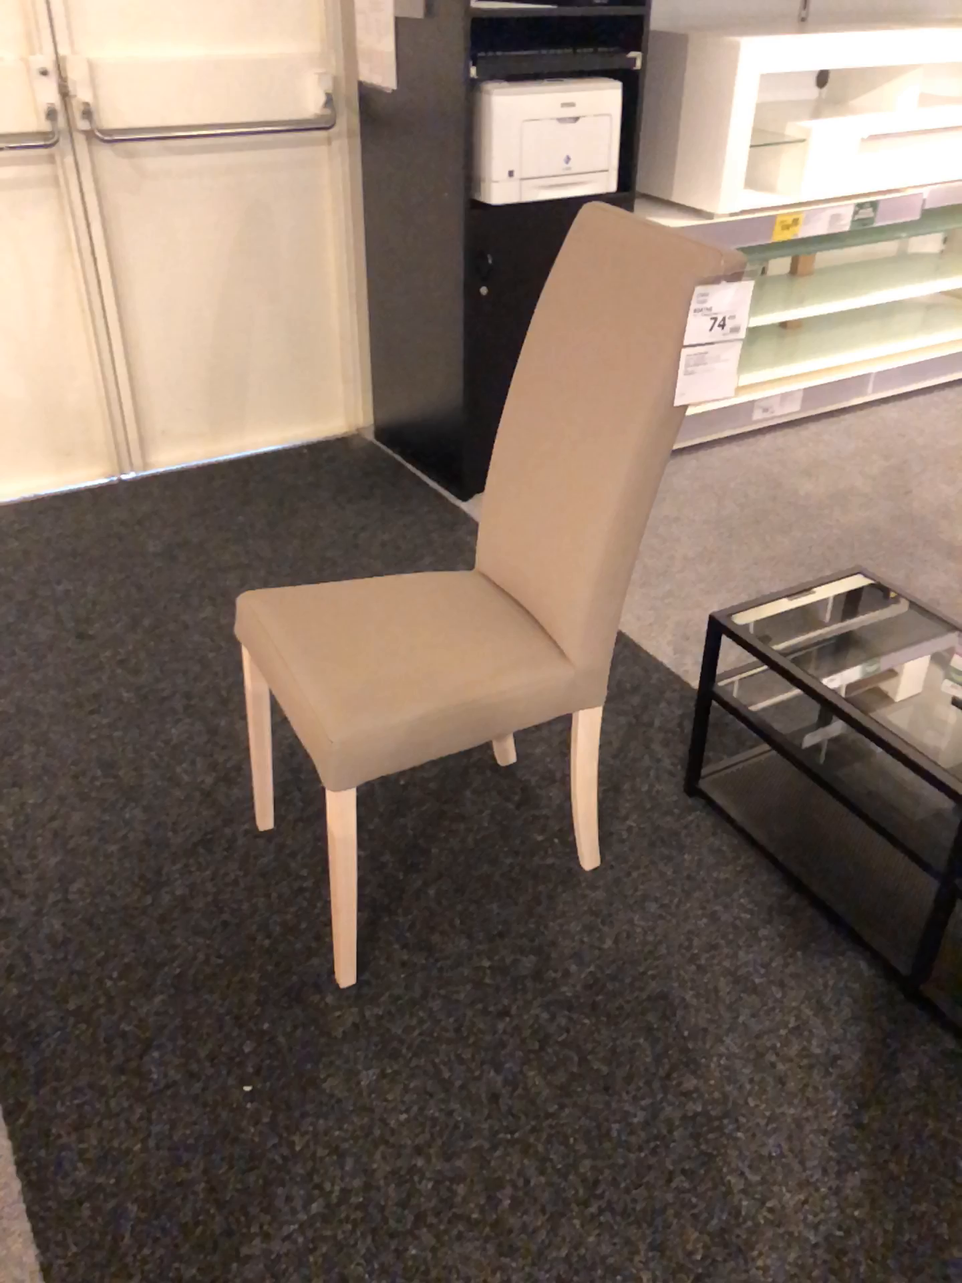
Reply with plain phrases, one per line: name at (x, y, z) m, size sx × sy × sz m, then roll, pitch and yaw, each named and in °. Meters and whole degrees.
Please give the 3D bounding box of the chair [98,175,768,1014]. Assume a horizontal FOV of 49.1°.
chair at (-0.089, -0.095, 1.501) m, size 0.632 × 0.944 × 0.531 m, roll -14°, pitch 36°, yaw -23°
